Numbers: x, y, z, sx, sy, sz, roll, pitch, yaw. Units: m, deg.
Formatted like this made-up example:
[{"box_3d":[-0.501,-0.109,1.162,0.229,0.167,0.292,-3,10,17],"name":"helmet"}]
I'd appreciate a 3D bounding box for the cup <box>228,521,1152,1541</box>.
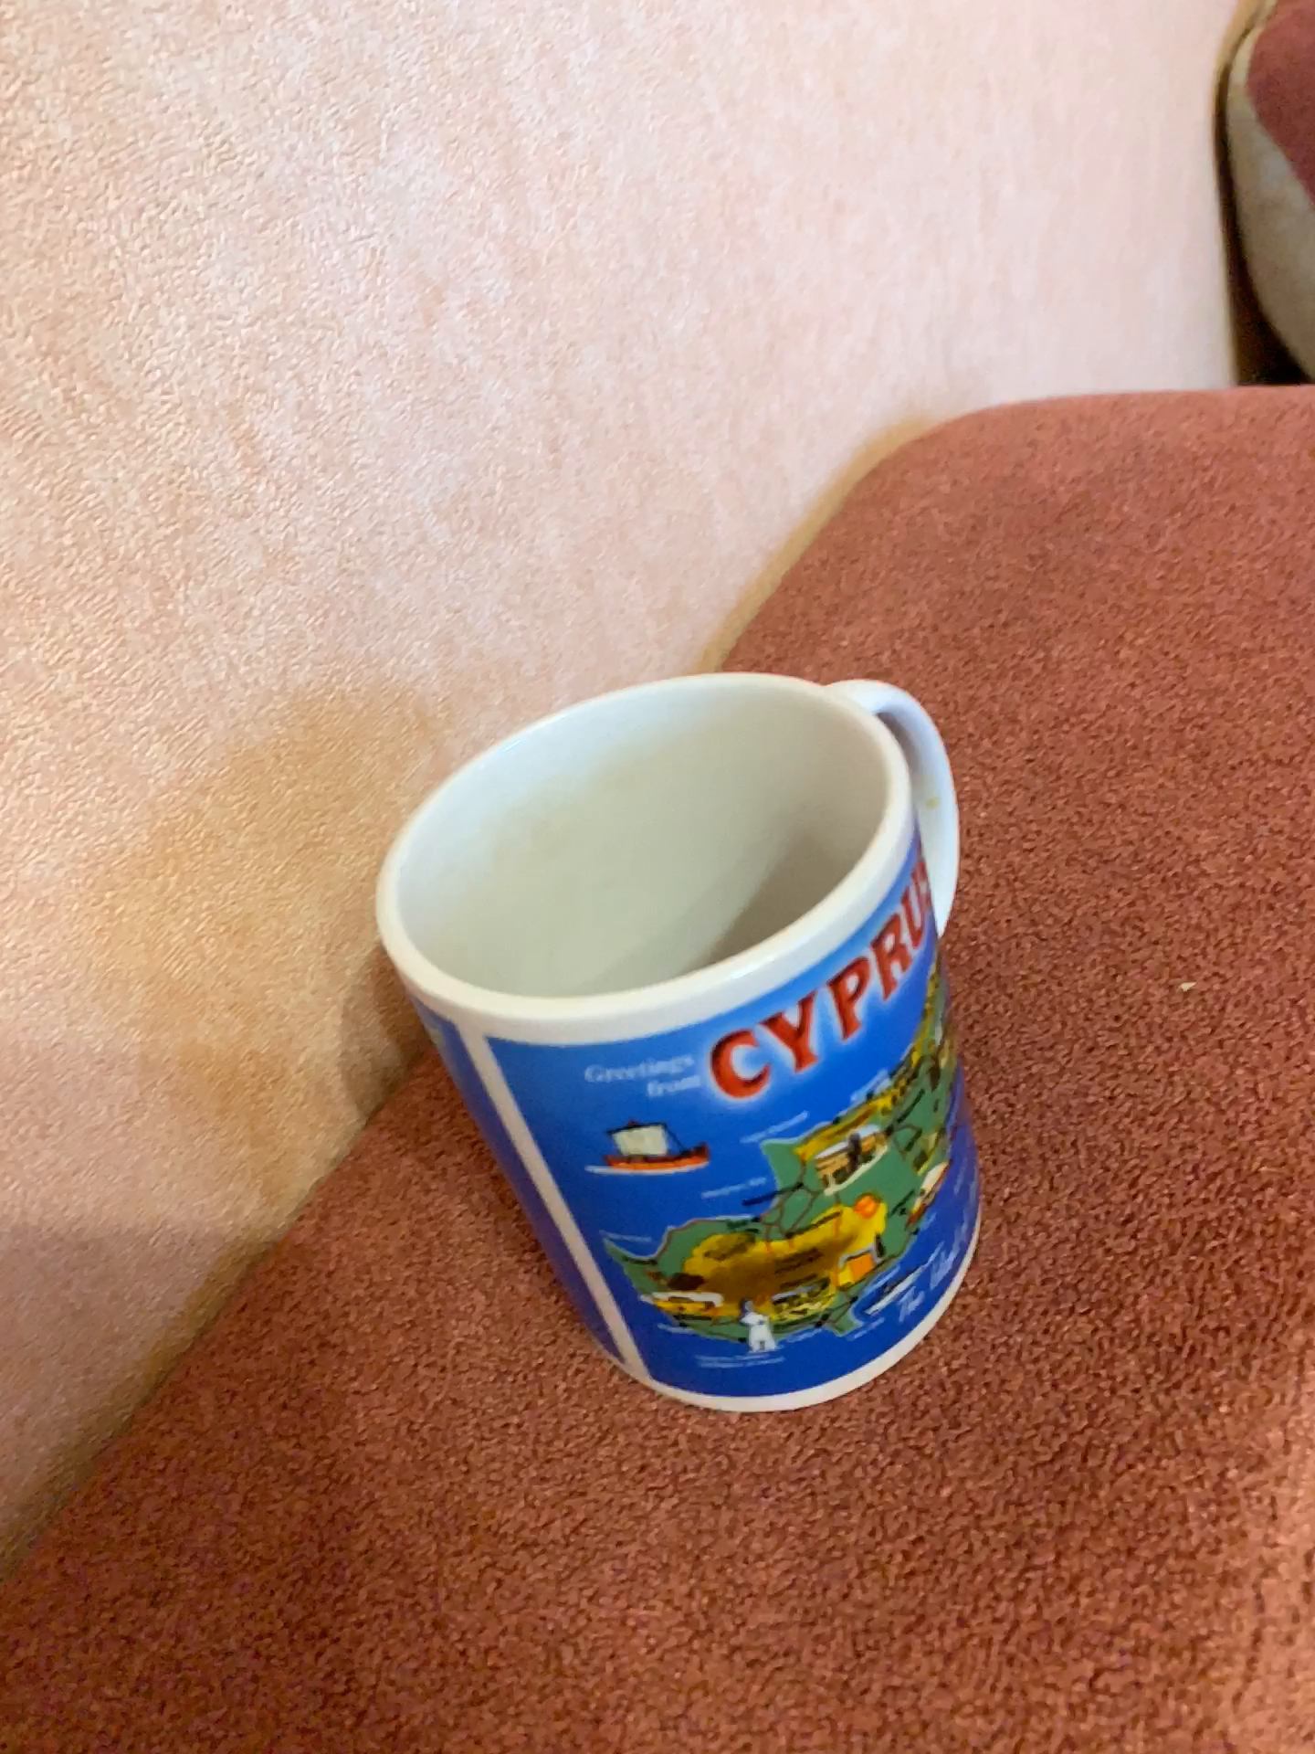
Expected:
[{"box_3d":[0.018,0.015,0.224,0.085,0.091,0.119,14,49,33],"name":"cup"}]
